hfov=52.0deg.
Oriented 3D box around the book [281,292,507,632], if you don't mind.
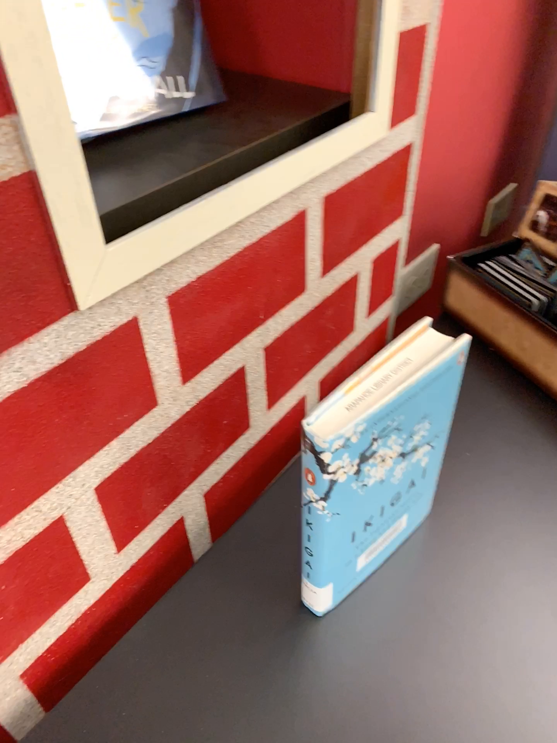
[{"bbox_3d":[0.071,0.067,0.389,0.150,0.199,0.040,-31,50,-30],"label":"book"}]
